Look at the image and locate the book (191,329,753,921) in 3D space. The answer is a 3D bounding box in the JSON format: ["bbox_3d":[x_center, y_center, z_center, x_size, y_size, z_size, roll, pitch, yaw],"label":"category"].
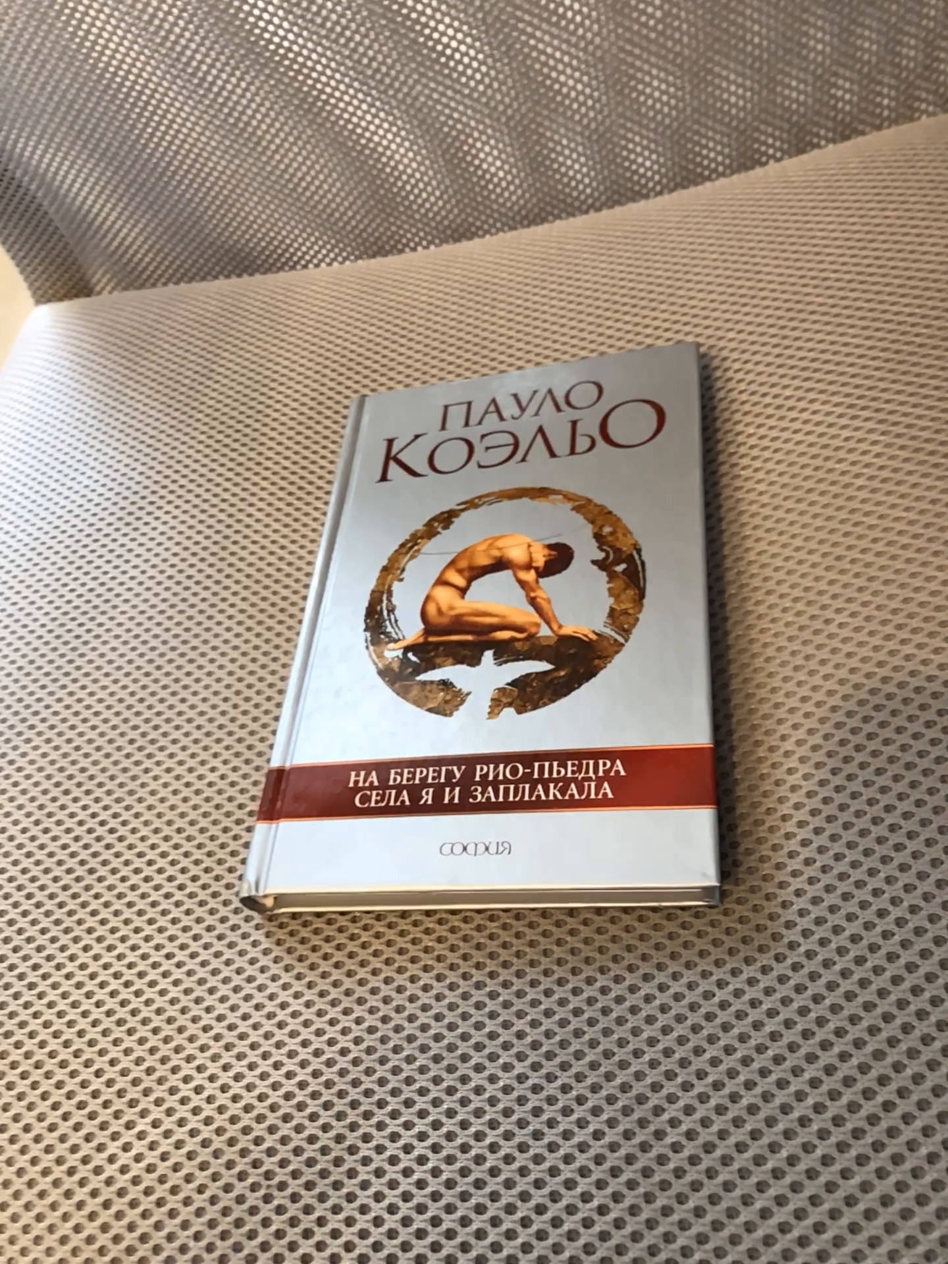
[{"bbox_3d":[0.005,-0.008,0.293,0.131,0.020,0.174,-5,55,16],"label":"book"}]
